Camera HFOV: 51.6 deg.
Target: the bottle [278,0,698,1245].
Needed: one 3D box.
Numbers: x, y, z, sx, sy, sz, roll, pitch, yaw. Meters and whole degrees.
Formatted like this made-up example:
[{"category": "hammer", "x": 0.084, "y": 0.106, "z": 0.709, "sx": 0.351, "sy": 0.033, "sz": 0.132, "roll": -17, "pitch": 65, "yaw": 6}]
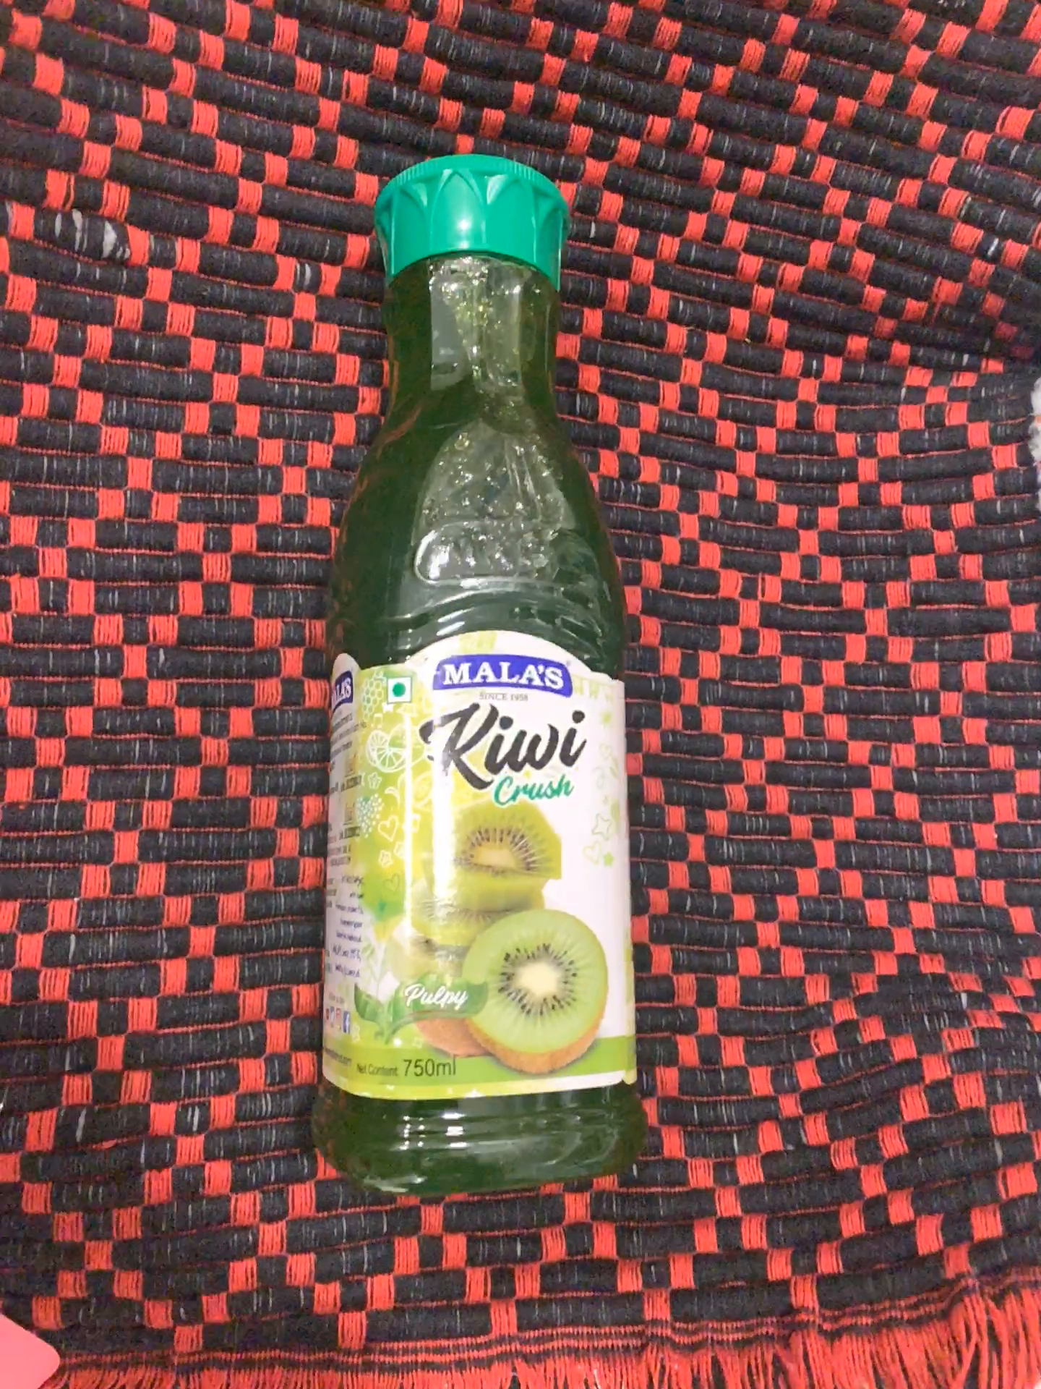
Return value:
[{"category": "bottle", "x": -0.014, "y": -0.023, "z": 0.260, "sx": 0.070, "sy": 0.080, "sz": 0.260, "roll": 3, "pitch": 76, "yaw": -18}]
